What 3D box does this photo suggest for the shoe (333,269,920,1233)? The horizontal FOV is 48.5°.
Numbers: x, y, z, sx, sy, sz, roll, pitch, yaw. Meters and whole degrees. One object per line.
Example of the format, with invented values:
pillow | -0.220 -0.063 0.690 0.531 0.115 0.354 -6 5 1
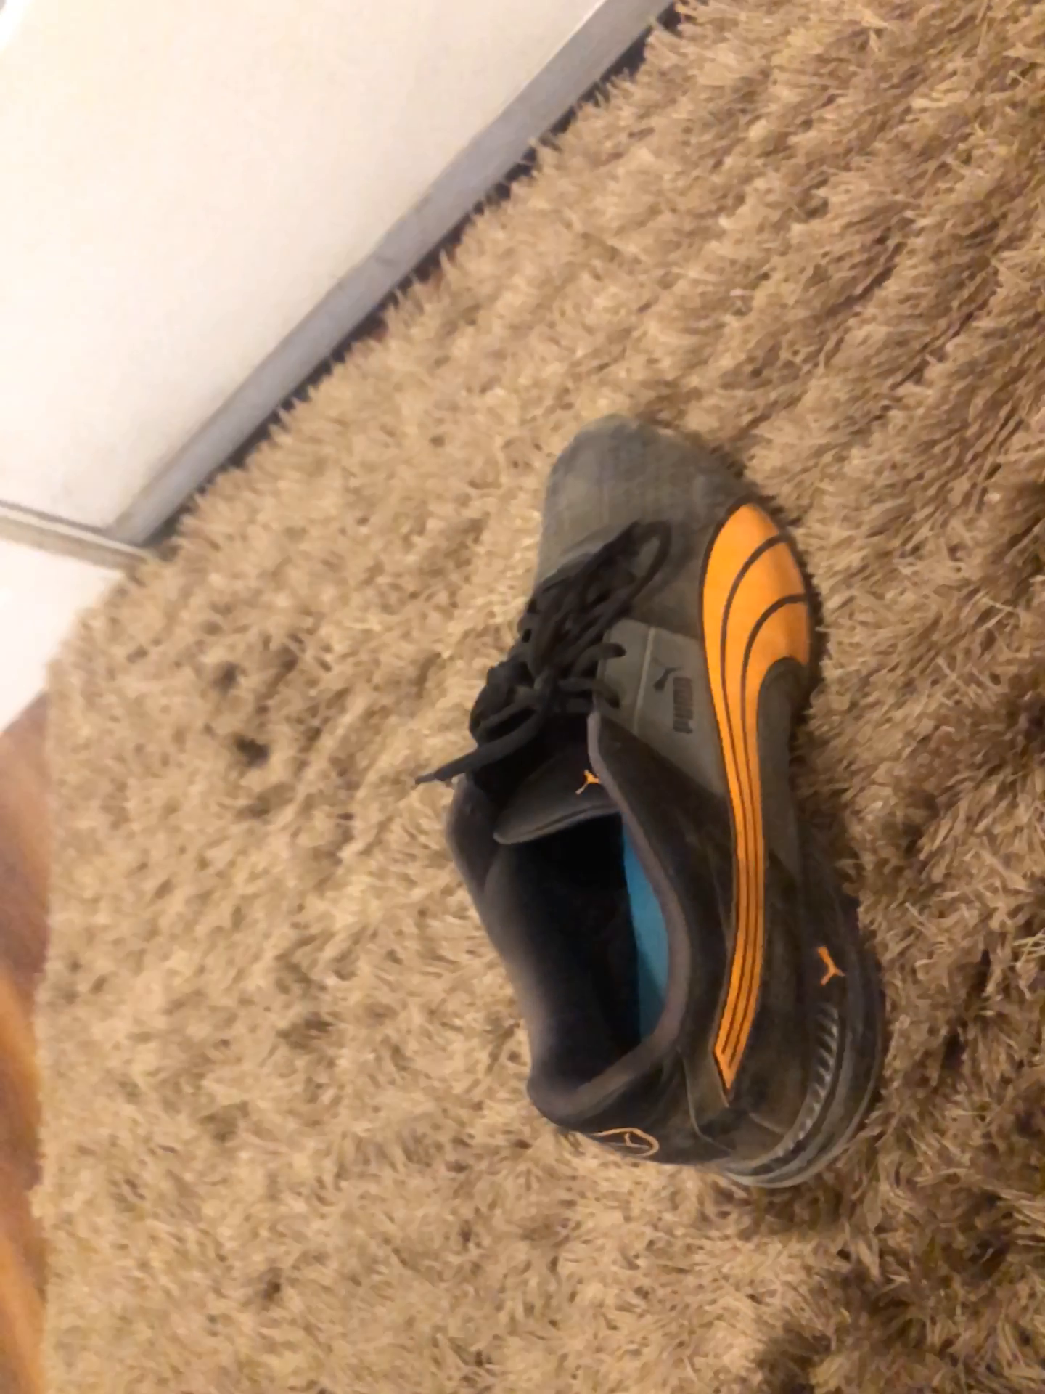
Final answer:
shoe | 0.023 0.019 0.422 0.123 0.110 0.300 -28 60 38
